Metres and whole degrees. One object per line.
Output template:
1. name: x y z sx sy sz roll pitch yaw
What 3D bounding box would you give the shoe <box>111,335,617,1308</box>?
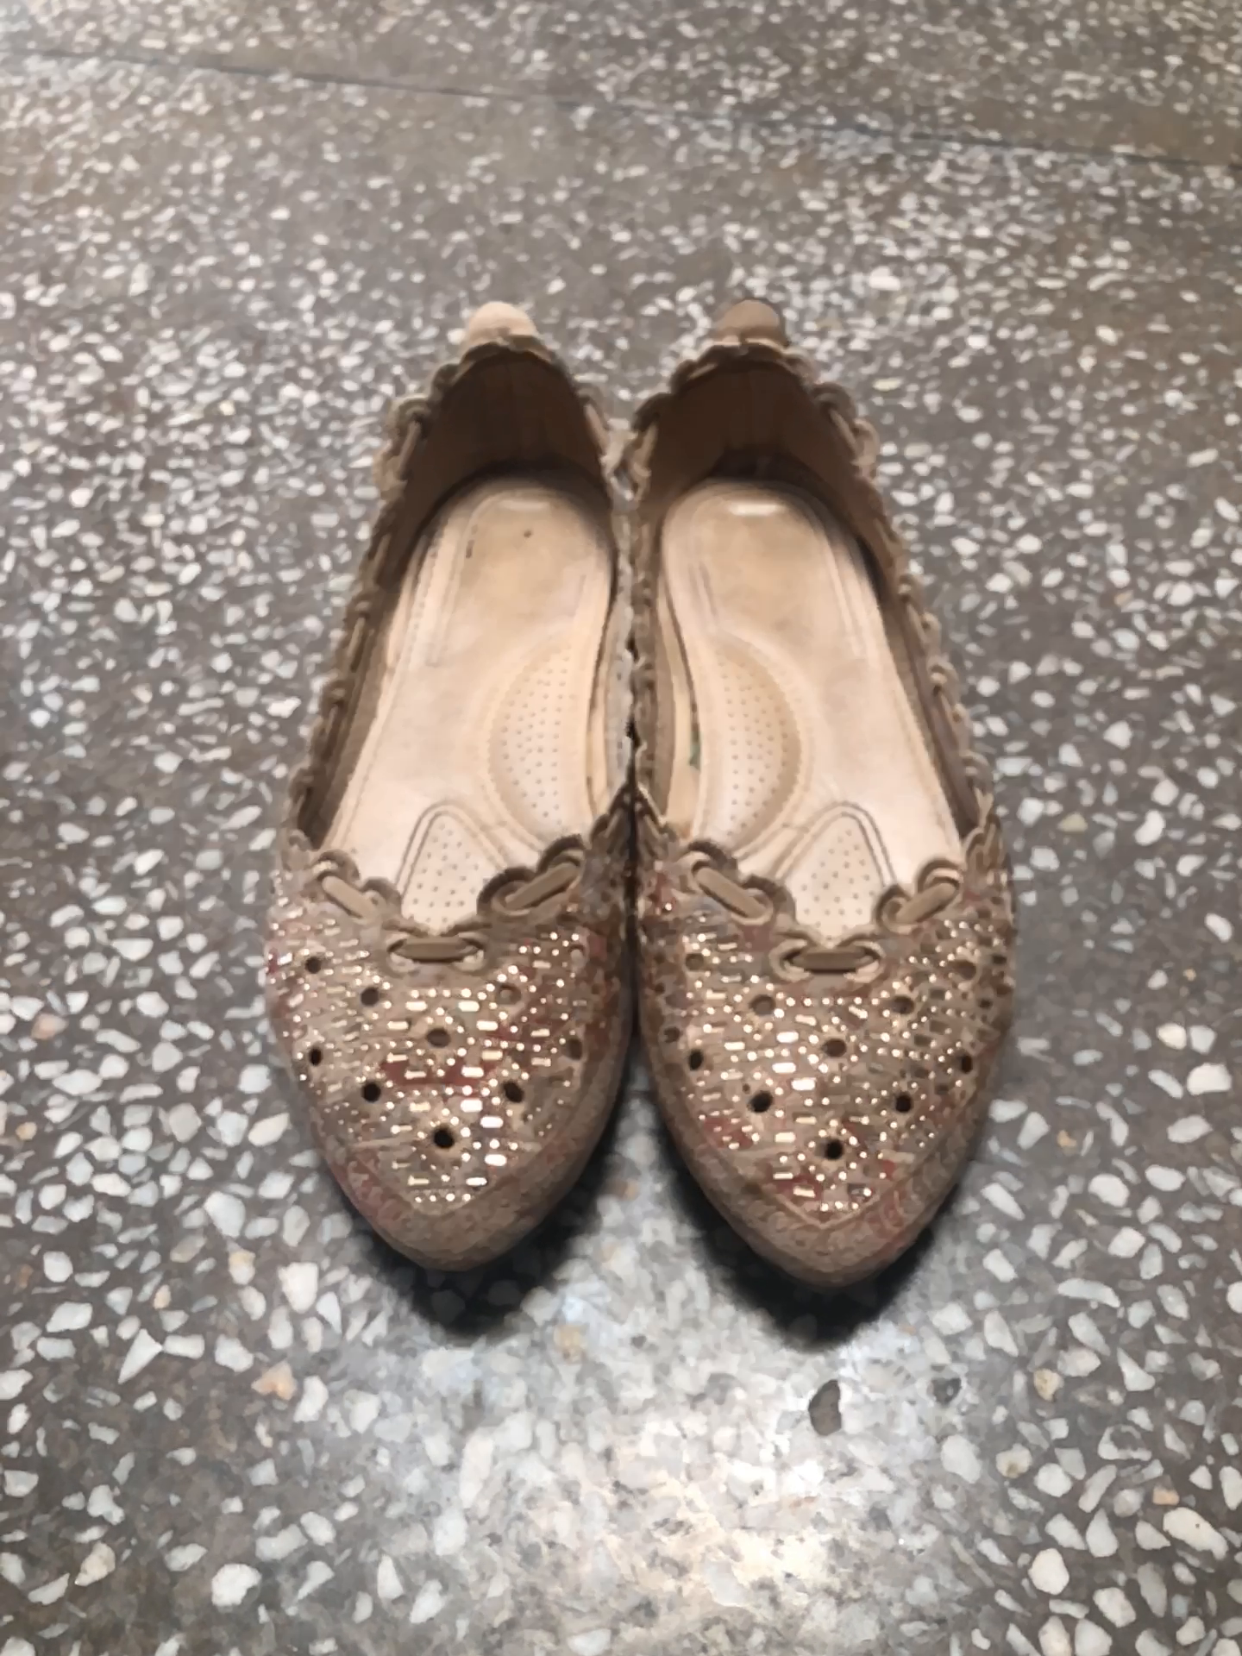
1. shoe: -0.048 -0.025 0.359 0.090 0.040 0.281 0 54 1

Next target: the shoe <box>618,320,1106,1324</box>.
1. shoe: 0.046 -0.021 0.348 0.090 0.040 0.271 0 58 1
